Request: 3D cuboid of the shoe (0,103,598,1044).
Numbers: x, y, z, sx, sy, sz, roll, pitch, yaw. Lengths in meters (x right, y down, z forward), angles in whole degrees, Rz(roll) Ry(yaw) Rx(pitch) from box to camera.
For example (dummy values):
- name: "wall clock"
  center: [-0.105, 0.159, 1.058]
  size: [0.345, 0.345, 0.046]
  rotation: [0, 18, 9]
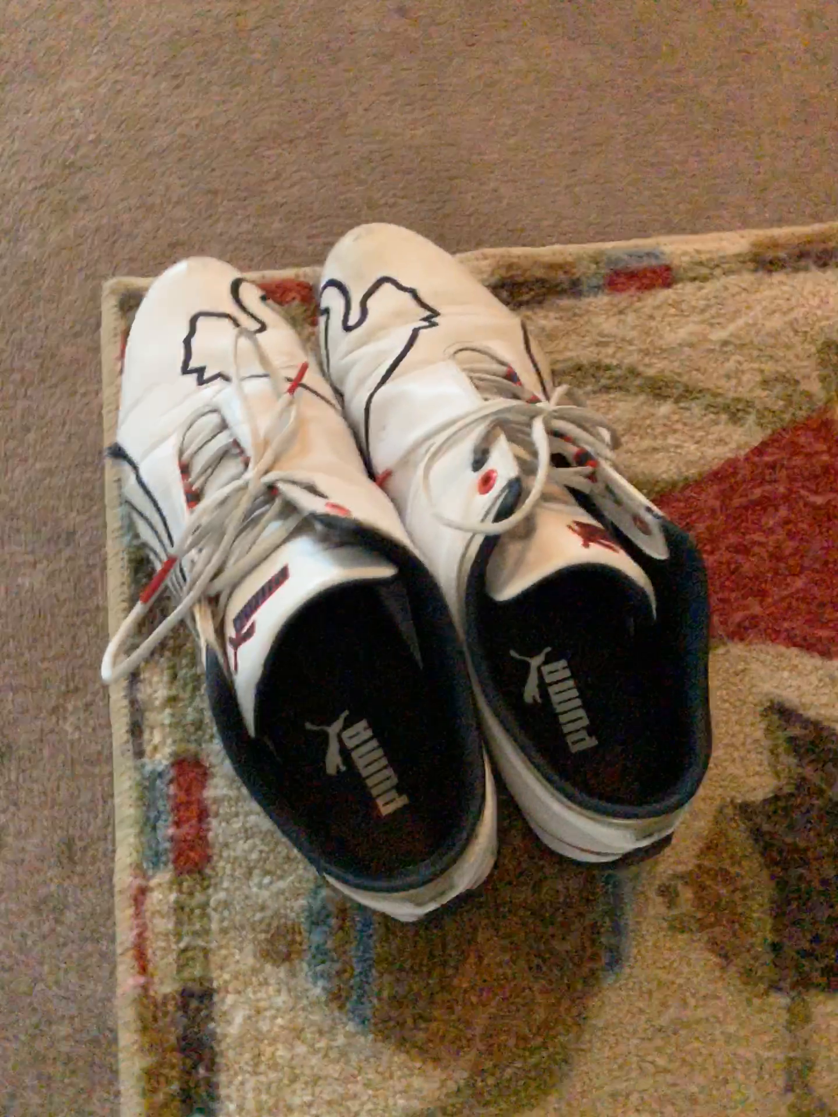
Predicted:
- name: "shoe"
  center: [-0.055, -0.003, 0.324]
  size: [0.100, 0.107, 0.291]
  rotation: [-22, 78, -10]

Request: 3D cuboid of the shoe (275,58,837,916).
- name: "shoe"
  center: [0.038, -0.031, 0.343]
  size: [0.100, 0.107, 0.291]
  rotation: [-18, 77, -9]
